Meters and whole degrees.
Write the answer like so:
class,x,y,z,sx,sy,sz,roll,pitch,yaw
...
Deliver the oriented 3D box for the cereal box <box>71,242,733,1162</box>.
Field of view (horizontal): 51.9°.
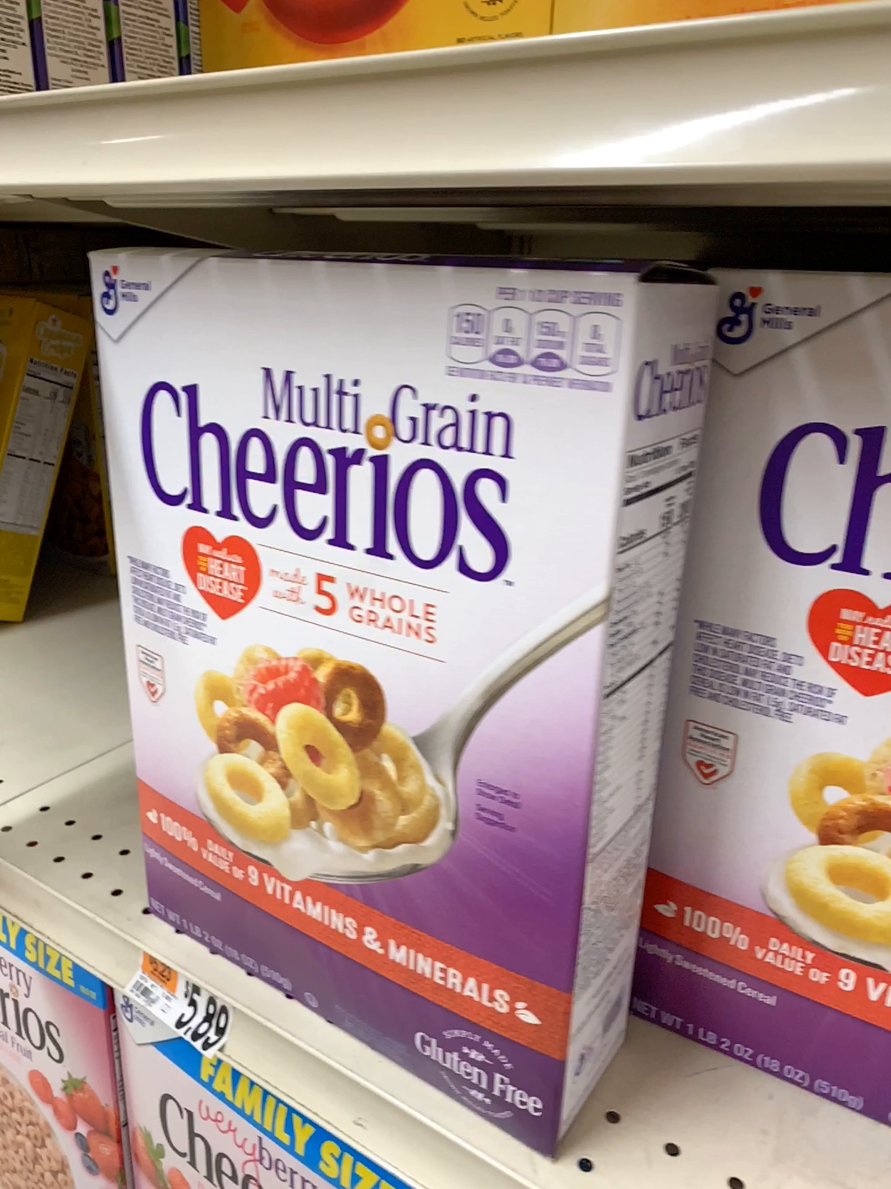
class,x,y,z,sx,sy,sz,roll,pitch,yaw
cereal box,-0.036,0.026,0.385,0.250,0.319,0.070,15,22,32
